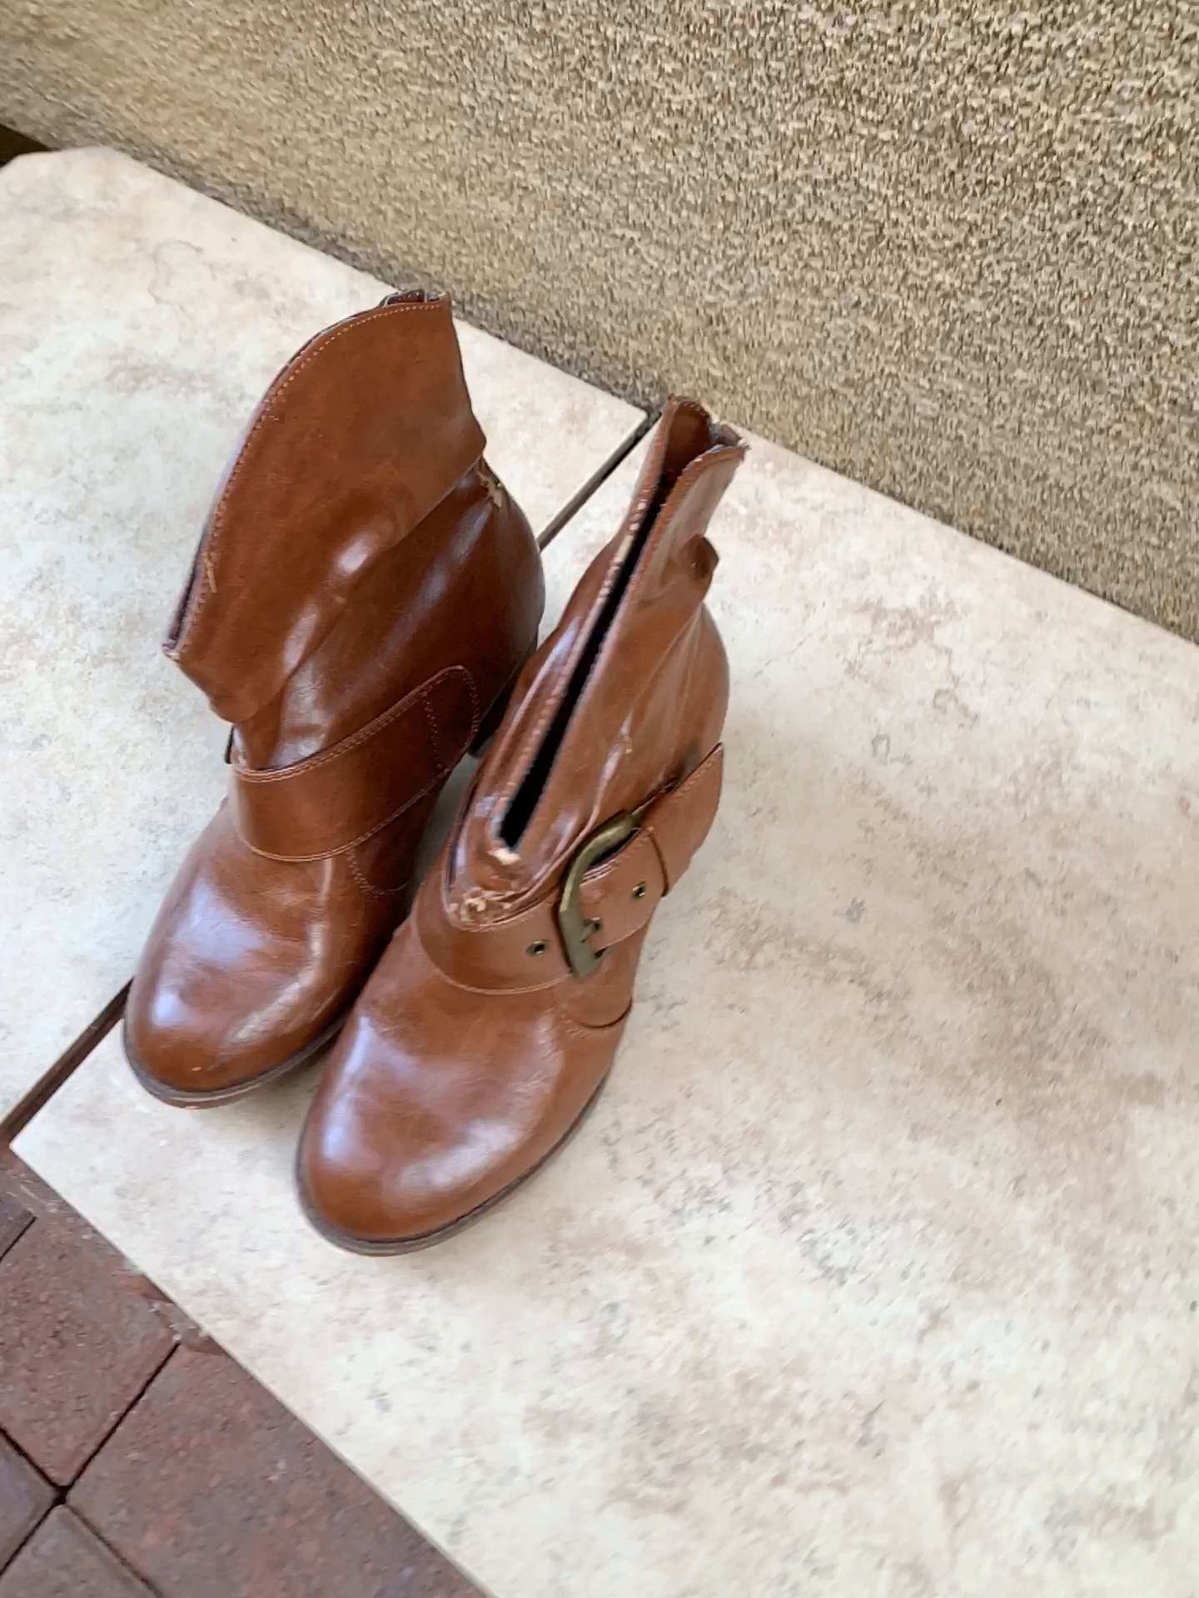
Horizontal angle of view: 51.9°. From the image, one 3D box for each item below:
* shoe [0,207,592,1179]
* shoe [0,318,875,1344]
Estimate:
[{"bbox_3d":[-0.114,-0.023,0.415,0.096,0.198,0.245,25,69,17],"label":"shoe"},{"bbox_3d":[-0.030,0.024,0.383,0.100,0.198,0.245,30,70,19],"label":"shoe"}]
